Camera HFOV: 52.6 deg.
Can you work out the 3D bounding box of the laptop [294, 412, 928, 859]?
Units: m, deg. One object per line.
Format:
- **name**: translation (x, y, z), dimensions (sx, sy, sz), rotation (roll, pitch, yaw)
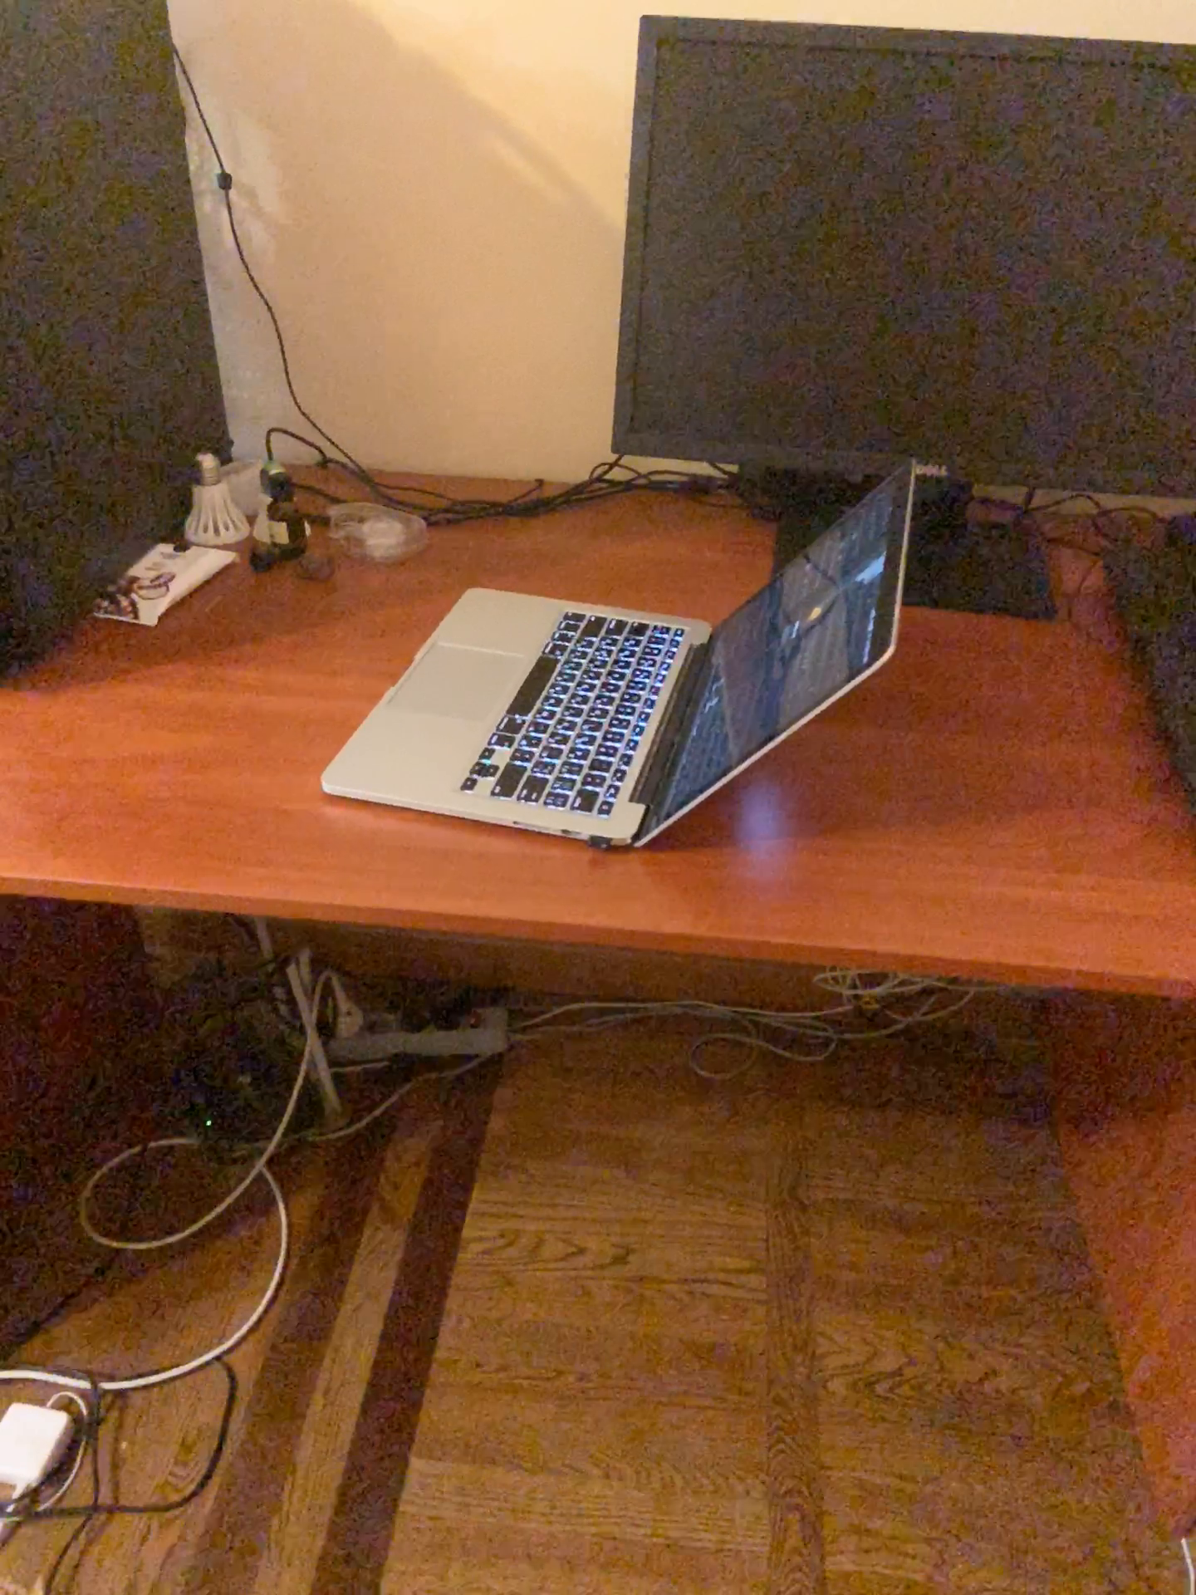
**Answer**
- **laptop**: translation (0.027, -0.125, 0.795), dimensions (0.333, 0.139, 0.287), rotation (8, 37, 11)
